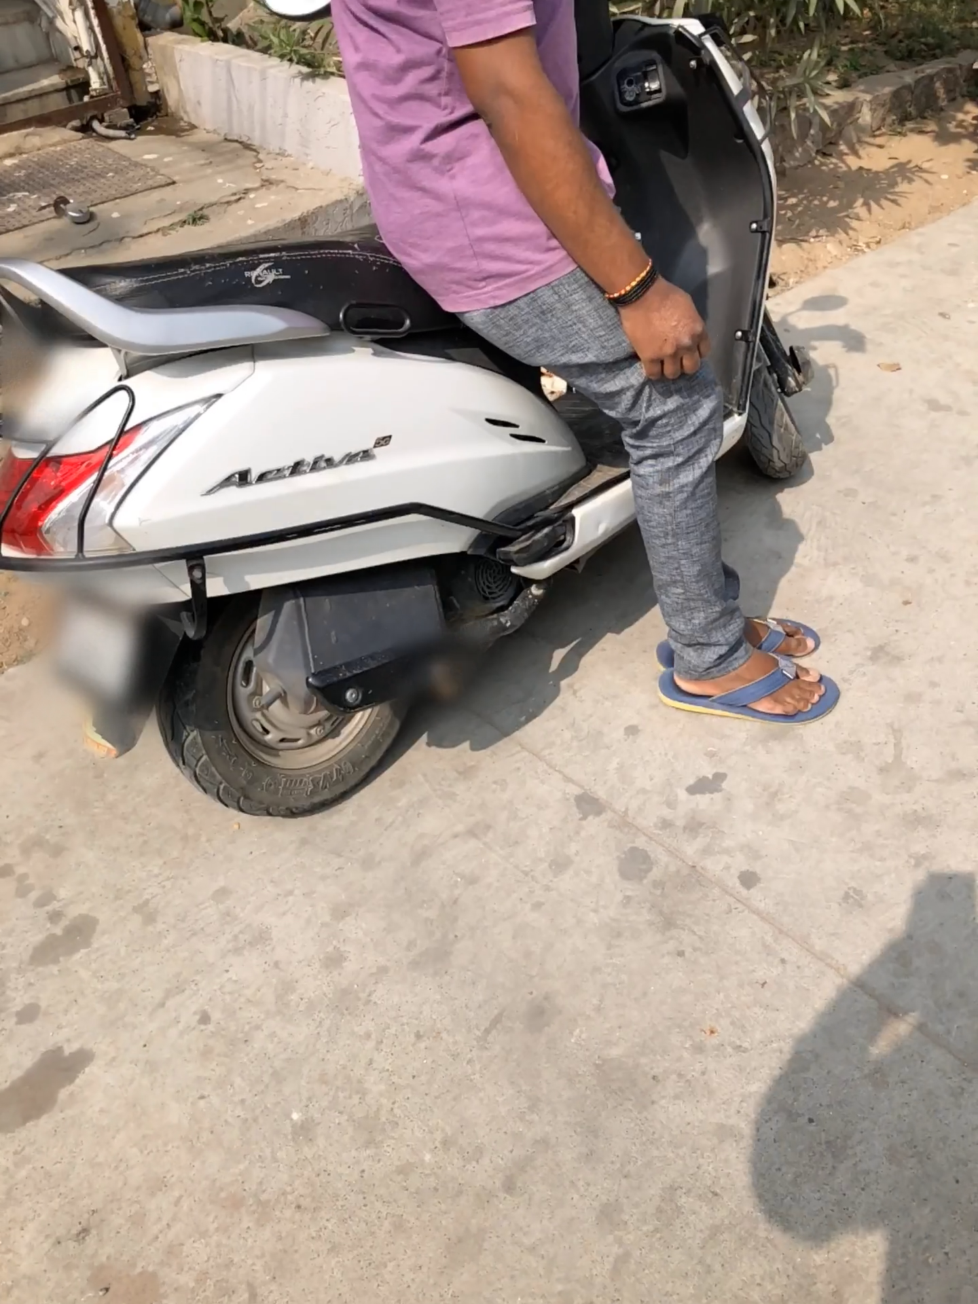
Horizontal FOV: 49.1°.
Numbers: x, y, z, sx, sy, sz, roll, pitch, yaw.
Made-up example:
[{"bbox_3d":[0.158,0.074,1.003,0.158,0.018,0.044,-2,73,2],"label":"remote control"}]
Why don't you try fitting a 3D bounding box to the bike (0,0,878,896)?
[{"bbox_3d":[-0.055,-0.587,1.739,0.647,1.008,1.529,24,49,31],"label":"bike"}]
